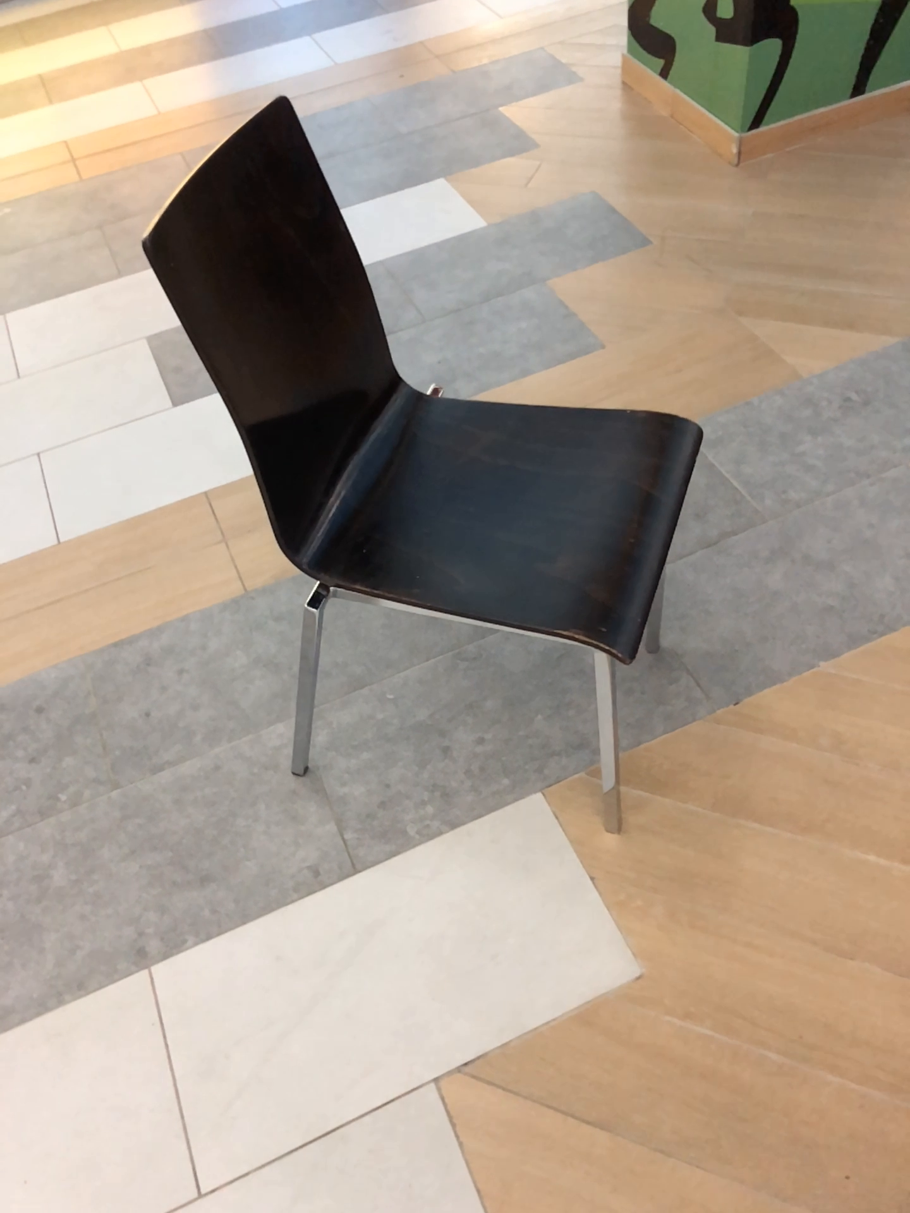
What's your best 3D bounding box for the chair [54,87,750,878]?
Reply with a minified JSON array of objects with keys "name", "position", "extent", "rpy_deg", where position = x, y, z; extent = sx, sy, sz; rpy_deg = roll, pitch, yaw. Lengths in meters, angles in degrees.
[{"name":"chair","position":[0.011,-0.113,1.259],"extent":[0.542,0.847,0.435],"rpy_deg":[12,52,17]}]
